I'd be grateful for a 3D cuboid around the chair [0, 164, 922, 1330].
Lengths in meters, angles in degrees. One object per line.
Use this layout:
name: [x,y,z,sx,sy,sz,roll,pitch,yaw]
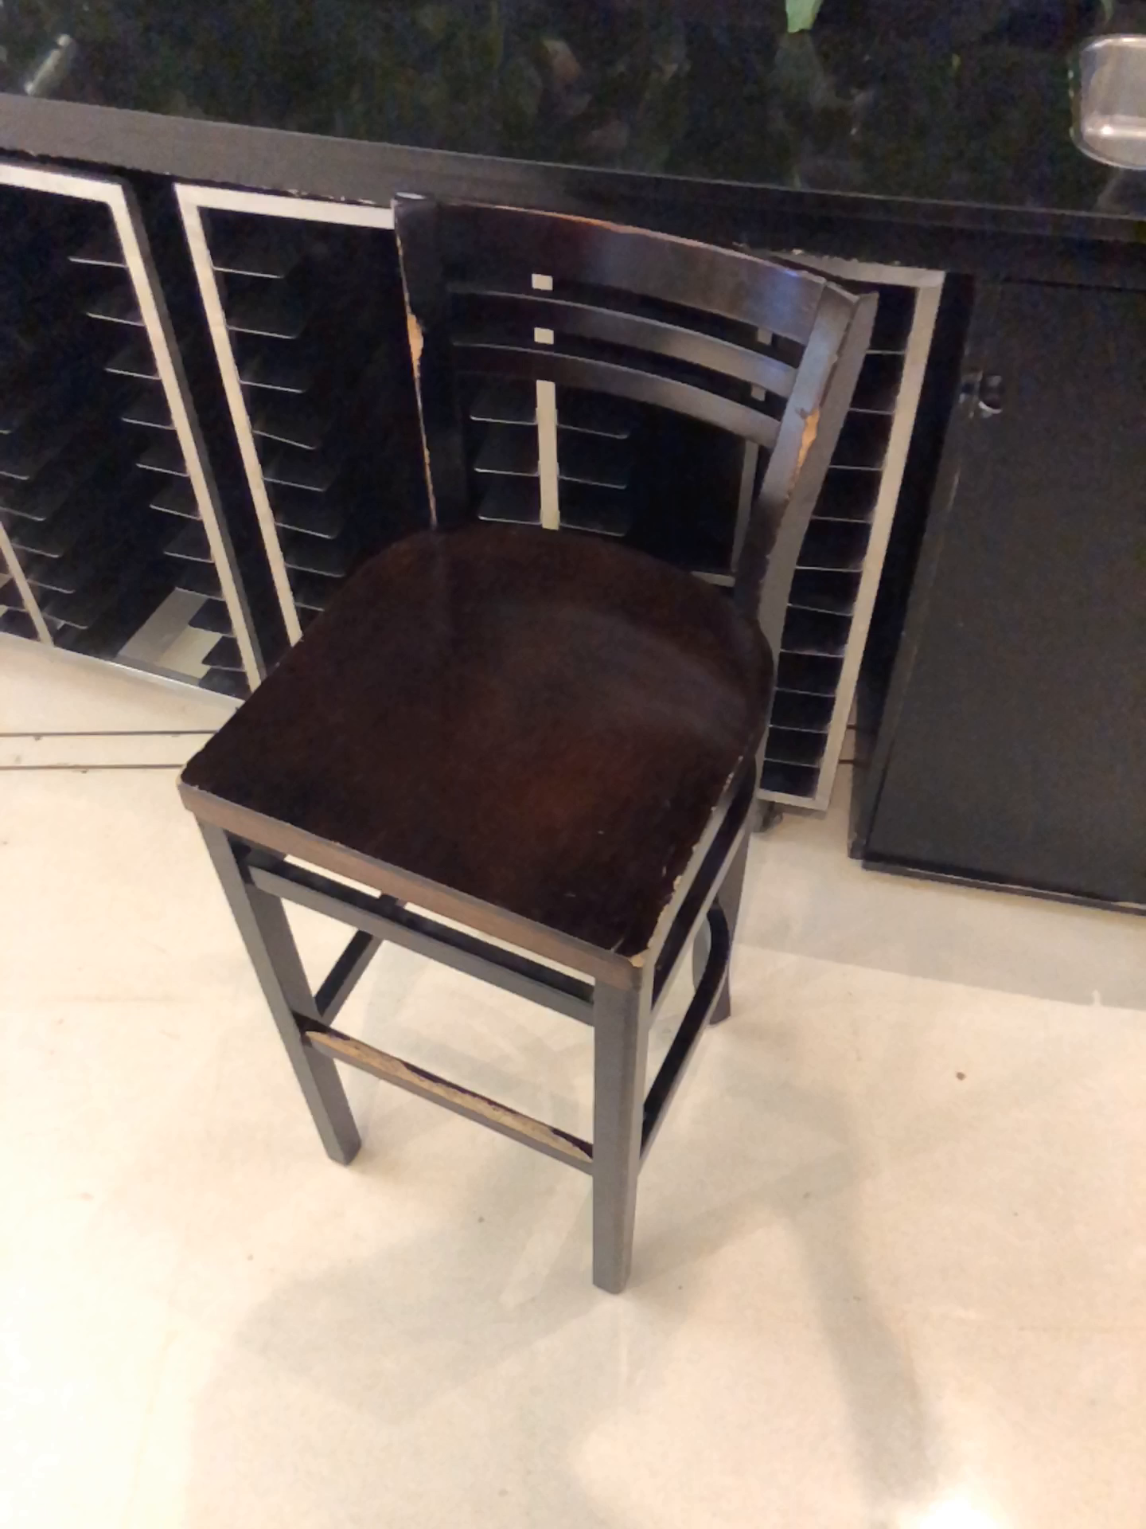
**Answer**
chair: [-0.045,0.049,1.137,0.440,0.914,0.452,19,52,18]
